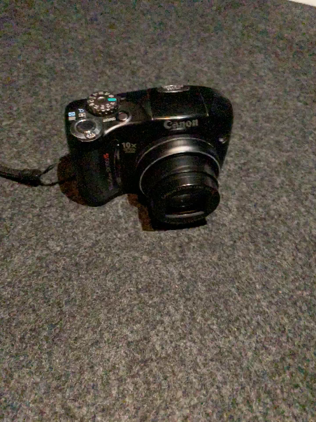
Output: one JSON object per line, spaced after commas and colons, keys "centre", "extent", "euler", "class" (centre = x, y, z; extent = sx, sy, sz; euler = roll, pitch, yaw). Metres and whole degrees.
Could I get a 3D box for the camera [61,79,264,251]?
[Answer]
{"centre": [-0.003, -0.030, 0.225], "extent": [0.108, 0.079, 0.070], "euler": [-8, 56, -8], "class": "camera"}
